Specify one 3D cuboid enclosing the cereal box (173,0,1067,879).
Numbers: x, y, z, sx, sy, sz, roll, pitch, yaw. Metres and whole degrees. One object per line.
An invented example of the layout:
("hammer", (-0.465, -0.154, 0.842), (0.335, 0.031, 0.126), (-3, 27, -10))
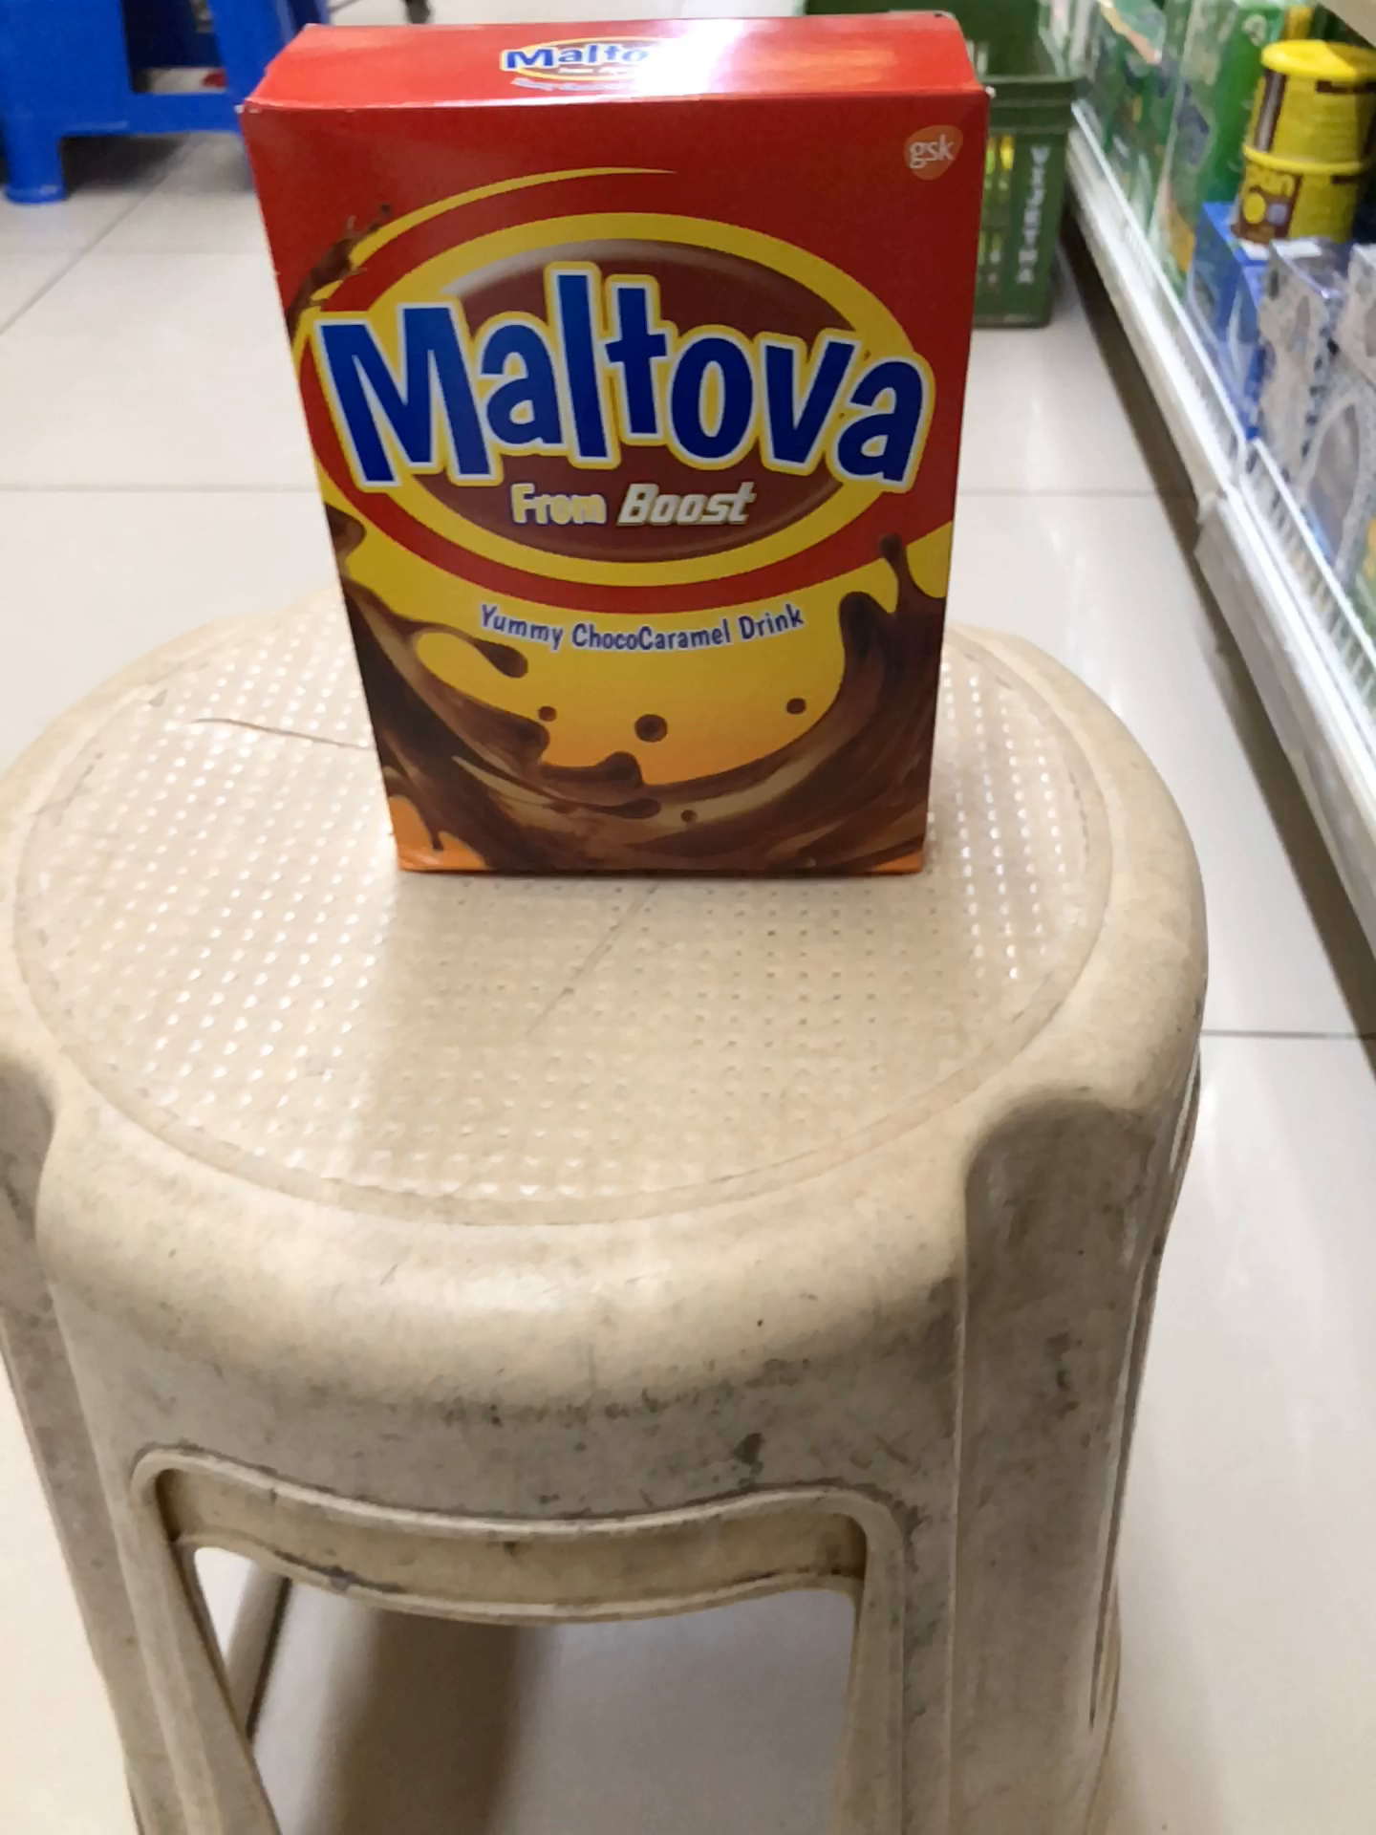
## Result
("cereal box", (-0.009, -0.100, 0.340), (0.150, 0.179, 0.070), (0, 41, 2))
